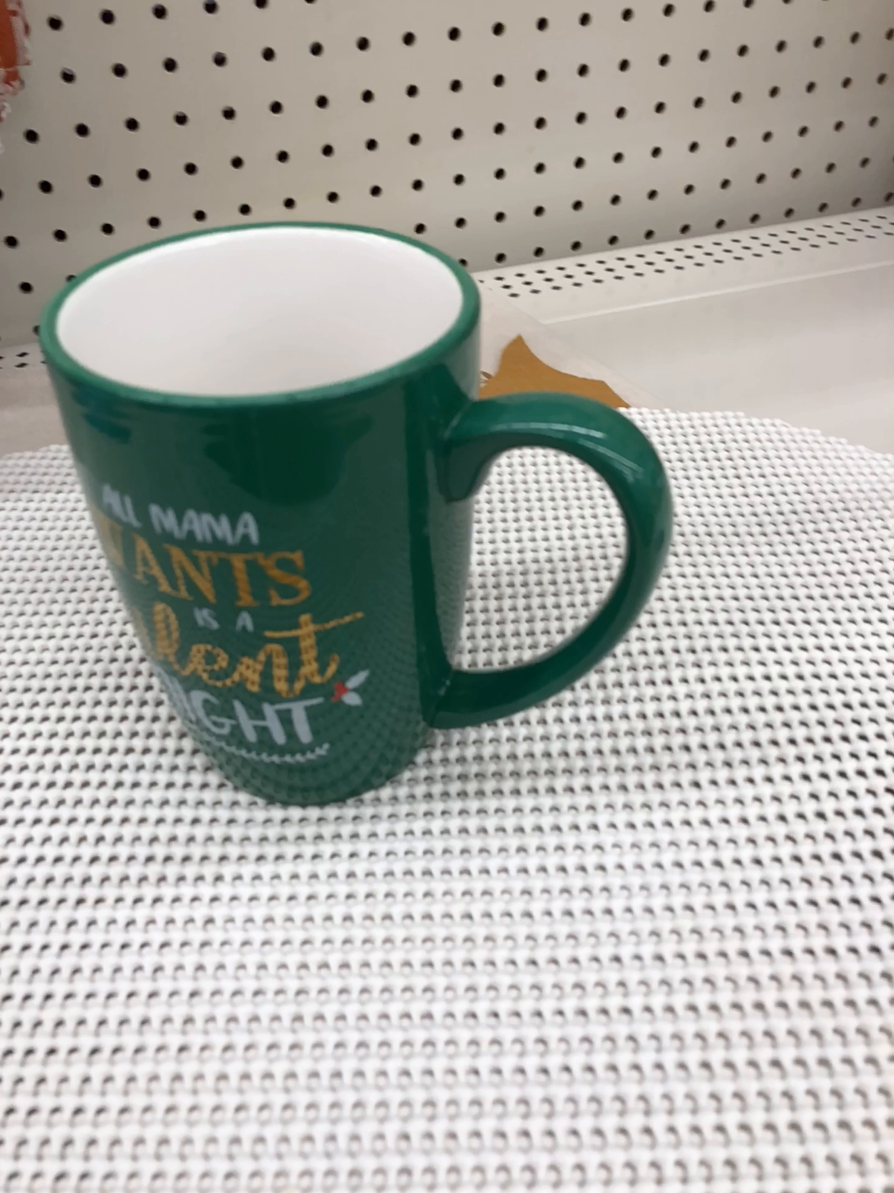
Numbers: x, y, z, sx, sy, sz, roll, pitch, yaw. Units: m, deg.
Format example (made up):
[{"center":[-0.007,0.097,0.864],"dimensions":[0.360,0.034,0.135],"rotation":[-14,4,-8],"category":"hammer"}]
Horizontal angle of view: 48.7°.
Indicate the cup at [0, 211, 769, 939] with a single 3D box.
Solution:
[{"center":[-0.011,-0.014,0.234],"dimensions":[0.140,0.110,0.100],"rotation":[12,41,18],"category":"cup"}]
